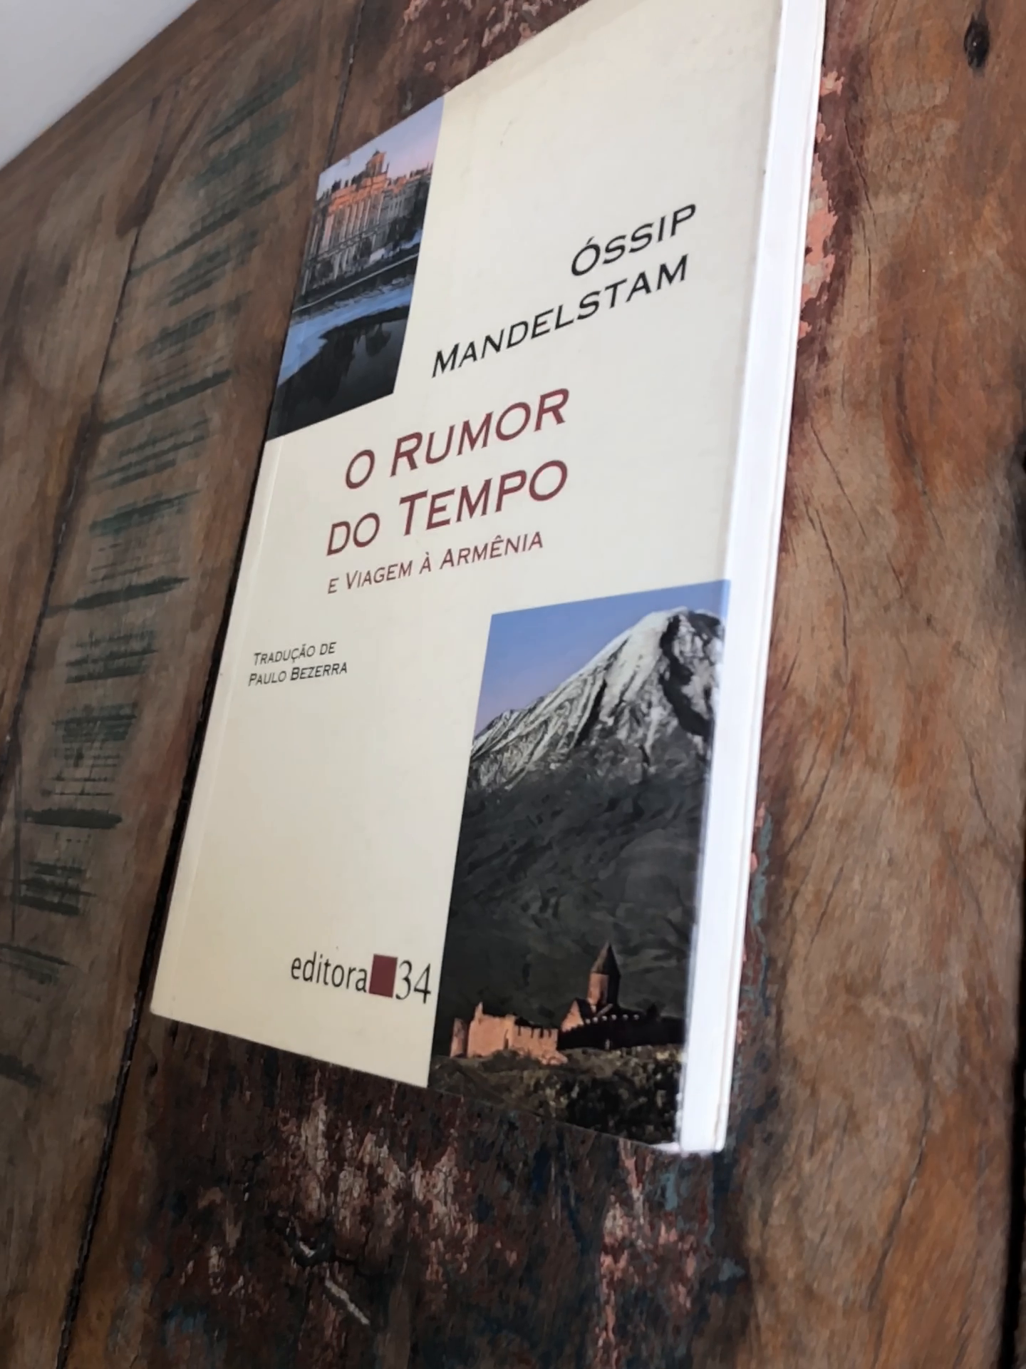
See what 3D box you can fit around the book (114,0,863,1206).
[{"bbox_3d":[-0.011,-0.031,0.218,0.141,0.022,0.207,-4,72,45],"label":"book"}]
